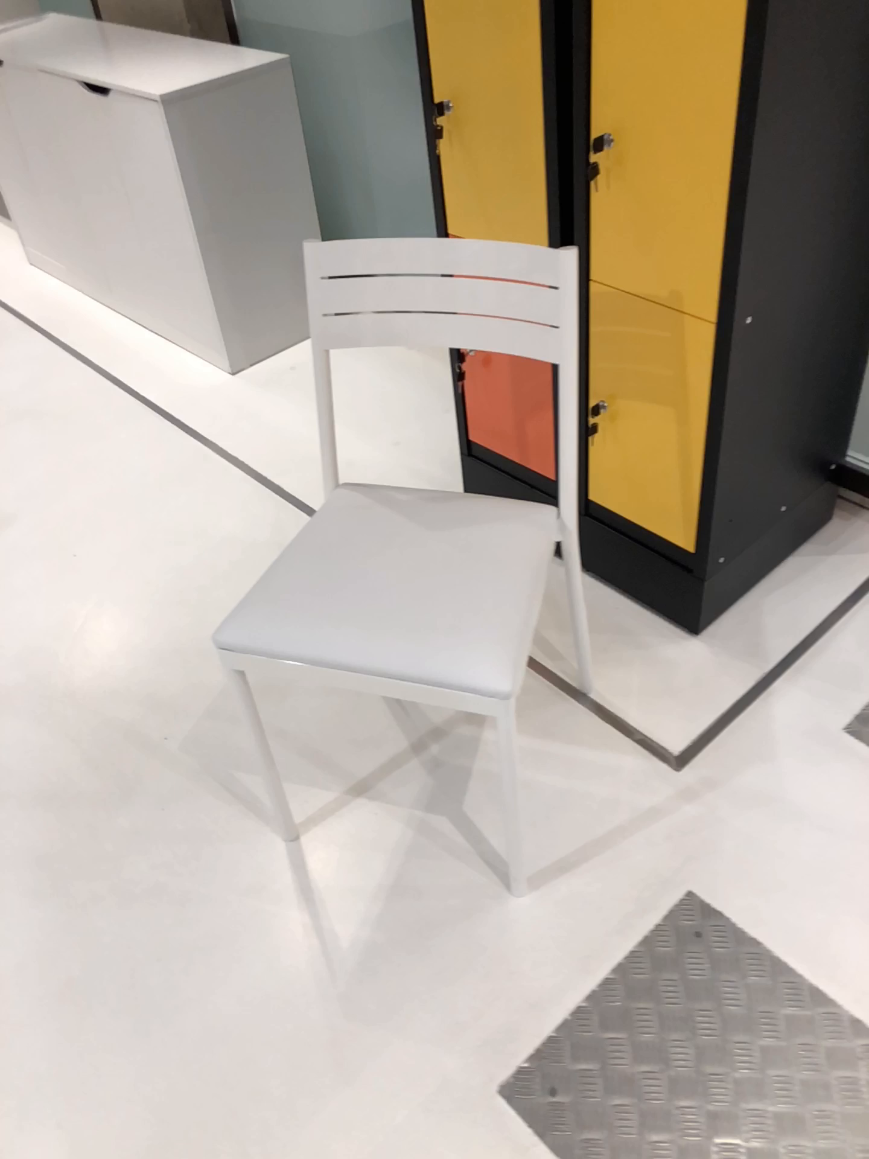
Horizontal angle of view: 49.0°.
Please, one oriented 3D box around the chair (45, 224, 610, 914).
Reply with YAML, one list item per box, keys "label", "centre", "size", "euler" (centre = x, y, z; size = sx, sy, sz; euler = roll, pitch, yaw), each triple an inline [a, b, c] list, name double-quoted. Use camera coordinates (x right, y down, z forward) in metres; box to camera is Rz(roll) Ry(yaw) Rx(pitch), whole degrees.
- label: "chair"
  centre: [-0.050, -0.021, 1.330]
  size: [0.480, 0.735, 0.533]
  euler: [8, 44, 18]
